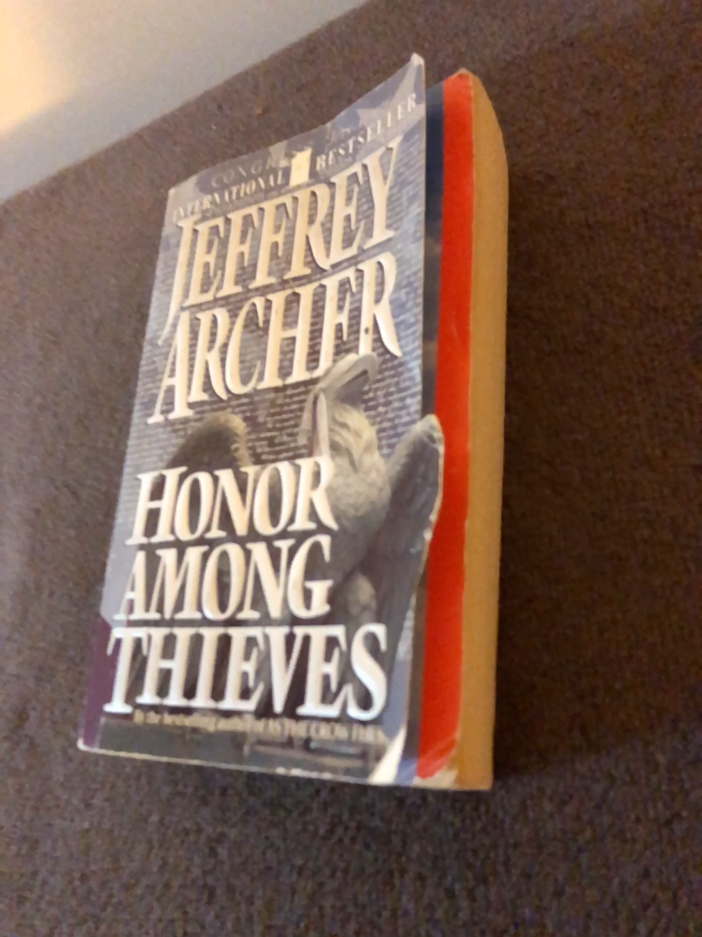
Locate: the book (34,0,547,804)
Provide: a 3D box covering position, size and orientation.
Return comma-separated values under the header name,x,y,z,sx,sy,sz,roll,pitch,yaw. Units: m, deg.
name,x,y,z,sx,sy,sz,roll,pitch,yaw
book,-0.012,-0.019,0.215,0.120,0.040,0.190,-6,69,30
